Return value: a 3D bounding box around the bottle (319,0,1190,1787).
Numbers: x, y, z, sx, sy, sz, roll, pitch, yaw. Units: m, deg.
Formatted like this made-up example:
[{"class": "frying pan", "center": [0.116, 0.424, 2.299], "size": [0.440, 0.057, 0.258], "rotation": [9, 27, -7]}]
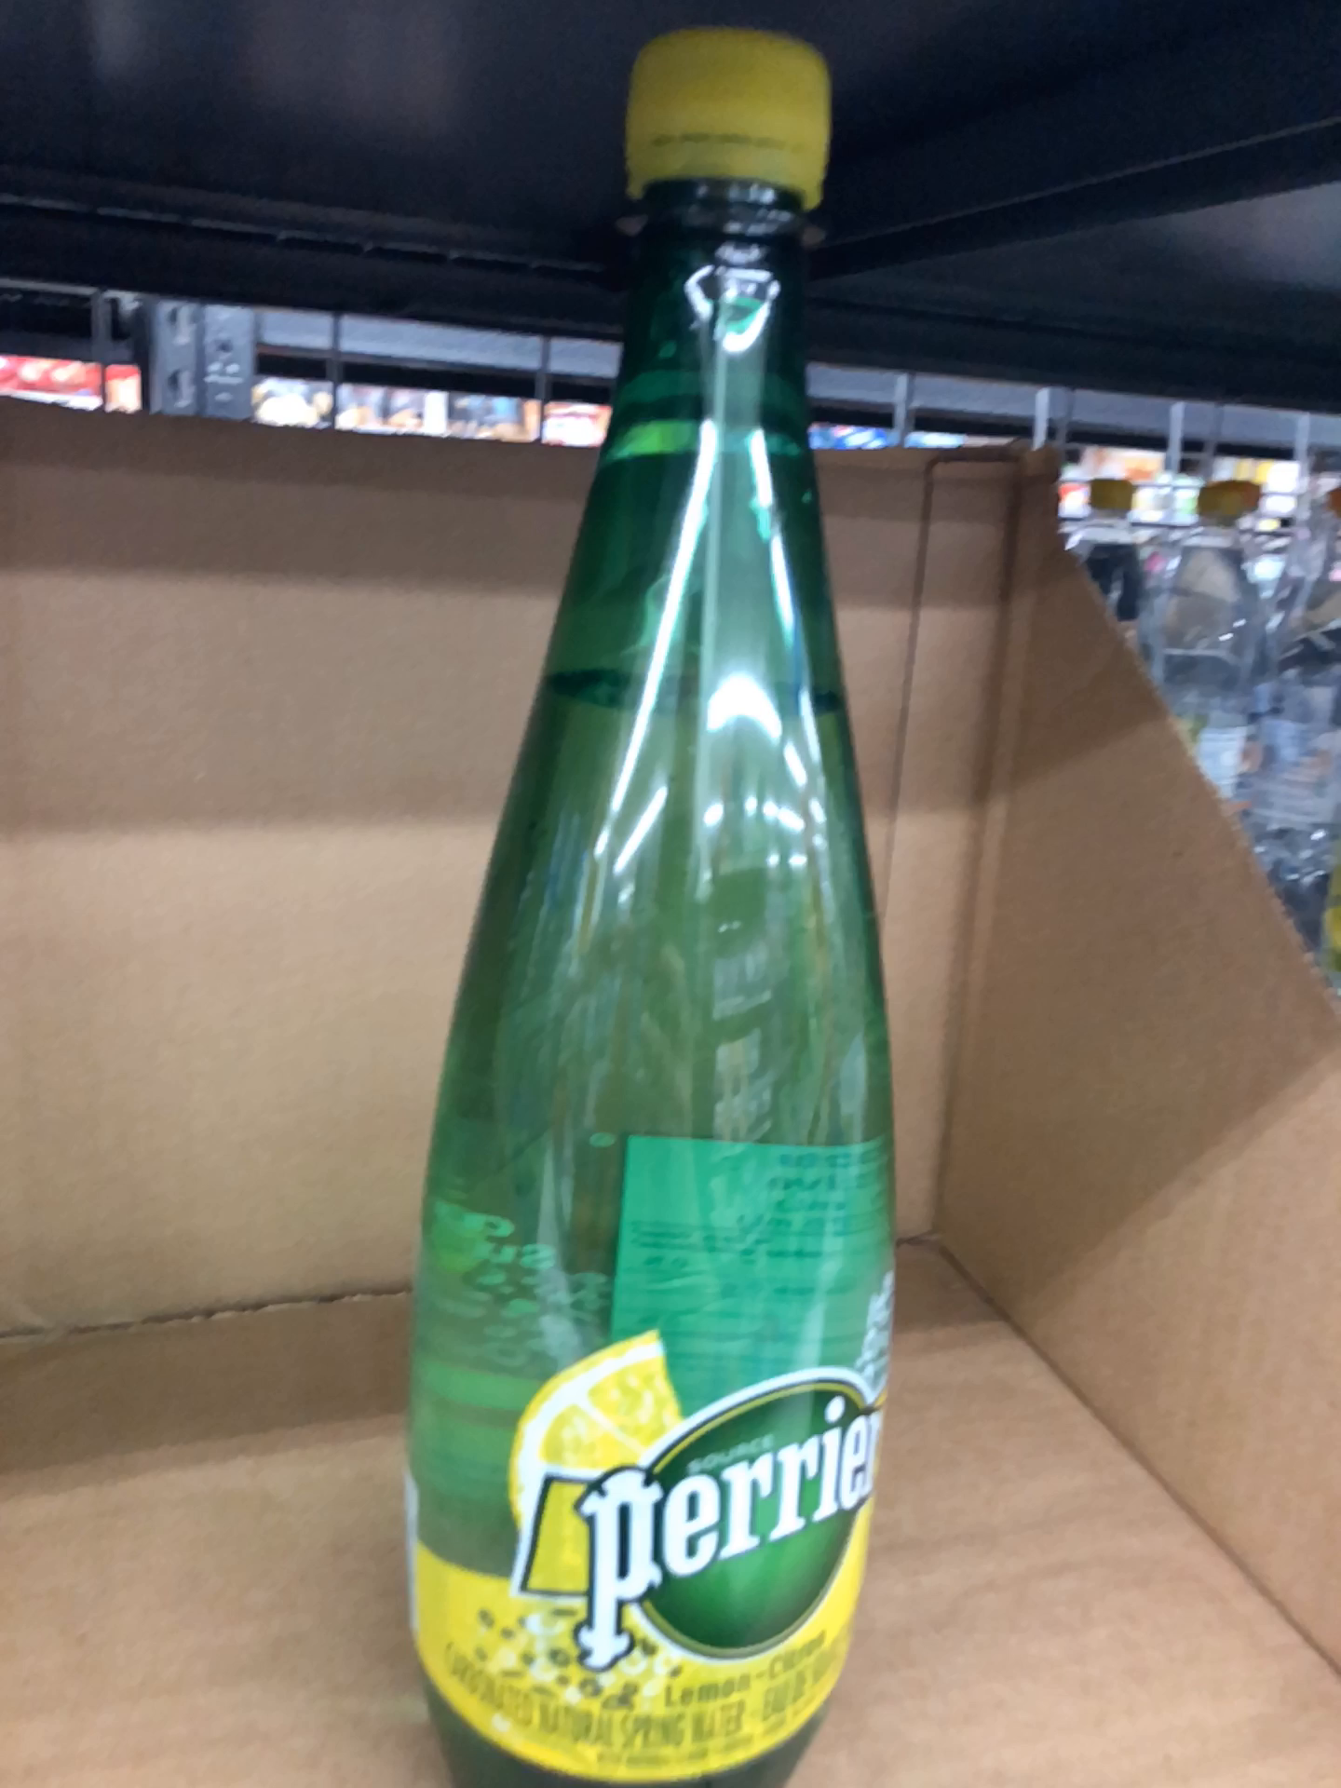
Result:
[{"class": "bottle", "center": [-0.002, 0.017, 0.260], "size": [0.100, 0.318, 0.080], "rotation": [-3, 17, -25]}]
